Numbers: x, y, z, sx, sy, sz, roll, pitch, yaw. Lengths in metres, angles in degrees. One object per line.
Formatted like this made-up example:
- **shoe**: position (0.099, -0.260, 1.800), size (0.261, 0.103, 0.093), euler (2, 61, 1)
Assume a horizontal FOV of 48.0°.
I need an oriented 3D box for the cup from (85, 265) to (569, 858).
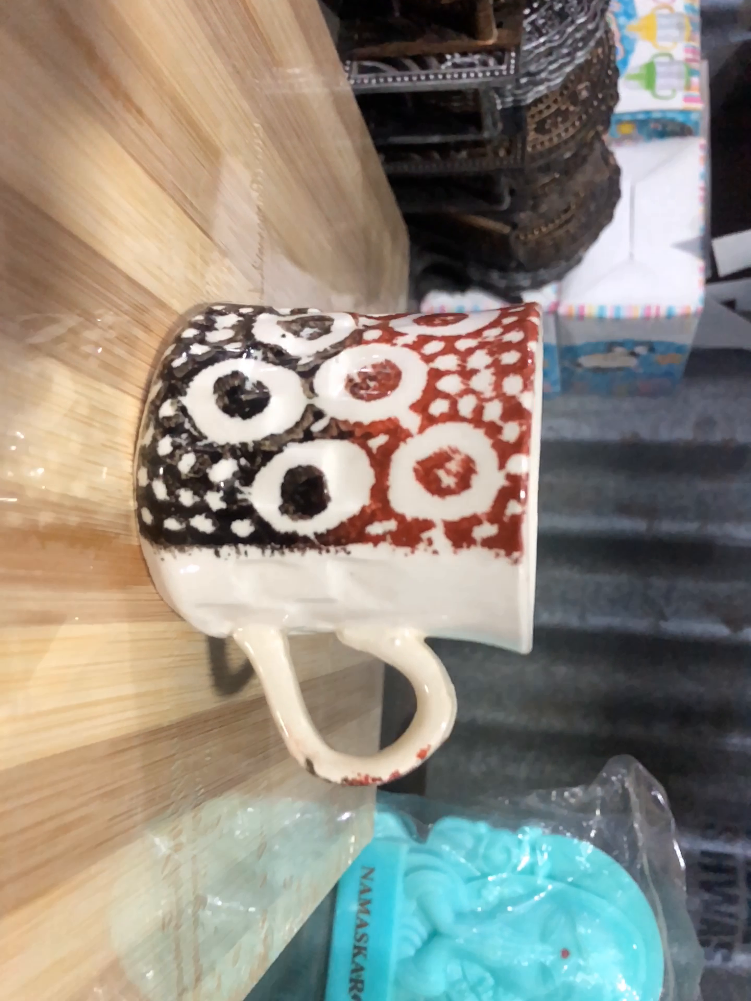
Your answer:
- **cup**: position (-0.002, 0.011, 0.162), size (0.060, 0.070, 0.090), euler (49, 45, -75)
